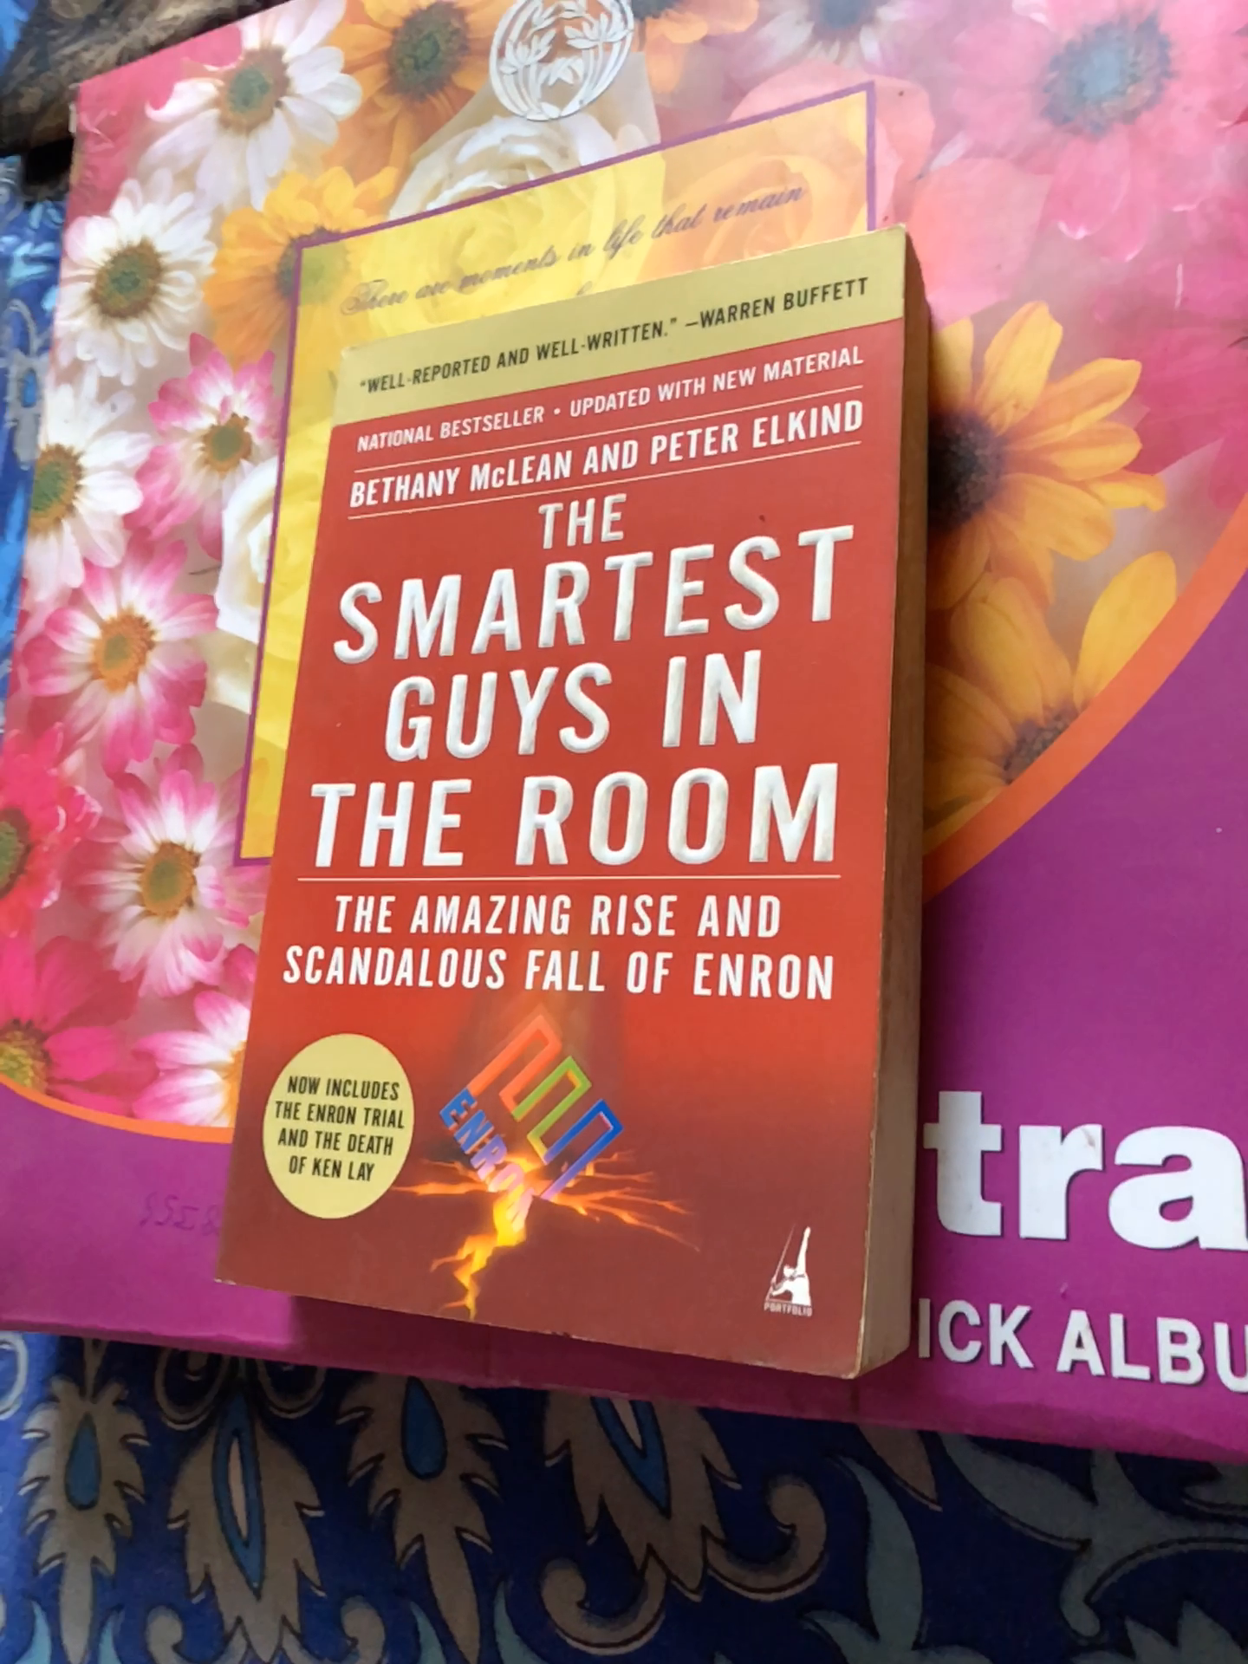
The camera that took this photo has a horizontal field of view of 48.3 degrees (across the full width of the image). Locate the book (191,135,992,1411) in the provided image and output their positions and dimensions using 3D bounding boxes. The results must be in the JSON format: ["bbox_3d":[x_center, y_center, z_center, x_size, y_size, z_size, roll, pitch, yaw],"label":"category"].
[{"bbox_3d":[-0.007,-0.013,0.287,0.150,0.040,0.220,-2,77,30],"label":"book"}]
